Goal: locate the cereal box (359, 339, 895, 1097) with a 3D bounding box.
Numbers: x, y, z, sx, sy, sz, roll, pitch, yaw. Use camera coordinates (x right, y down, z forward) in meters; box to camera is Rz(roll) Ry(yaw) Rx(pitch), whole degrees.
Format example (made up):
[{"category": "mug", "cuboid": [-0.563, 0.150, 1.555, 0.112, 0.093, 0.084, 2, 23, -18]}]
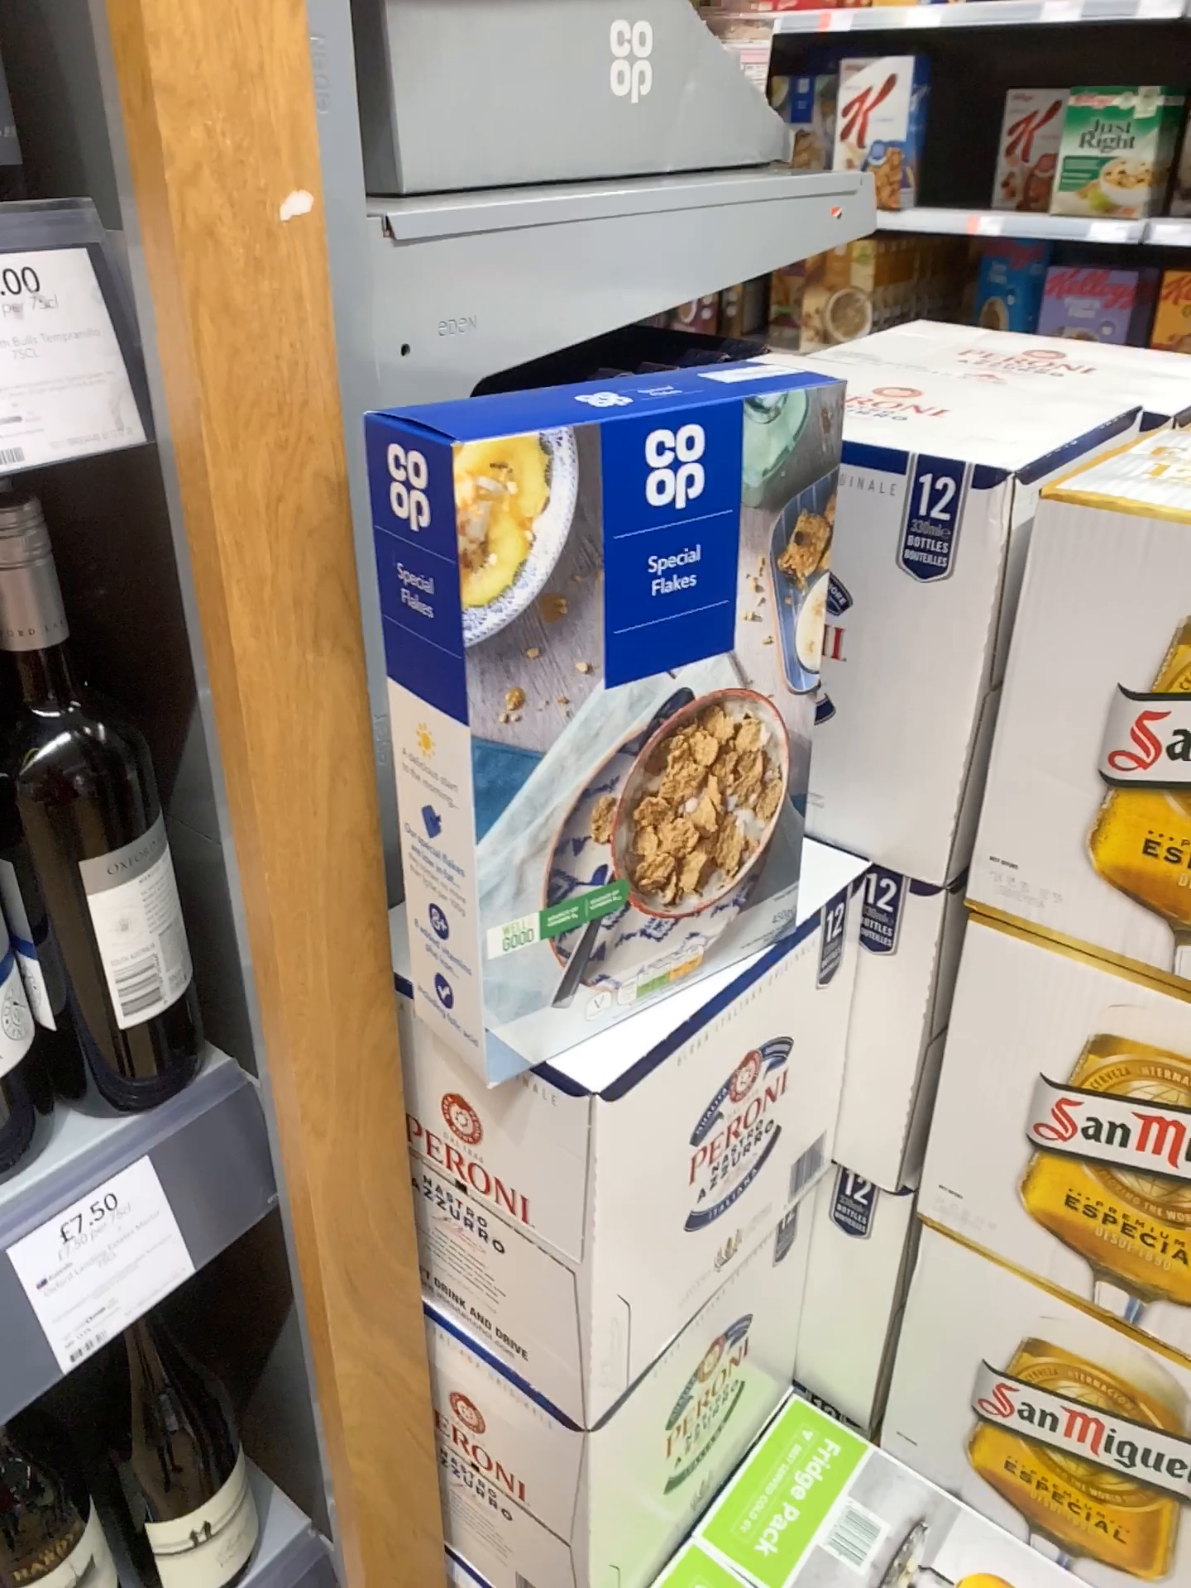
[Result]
[{"category": "cereal box", "cuboid": [0.019, -0.037, 0.517, 0.201, 0.267, 0.070, -21, 35, -33]}]
